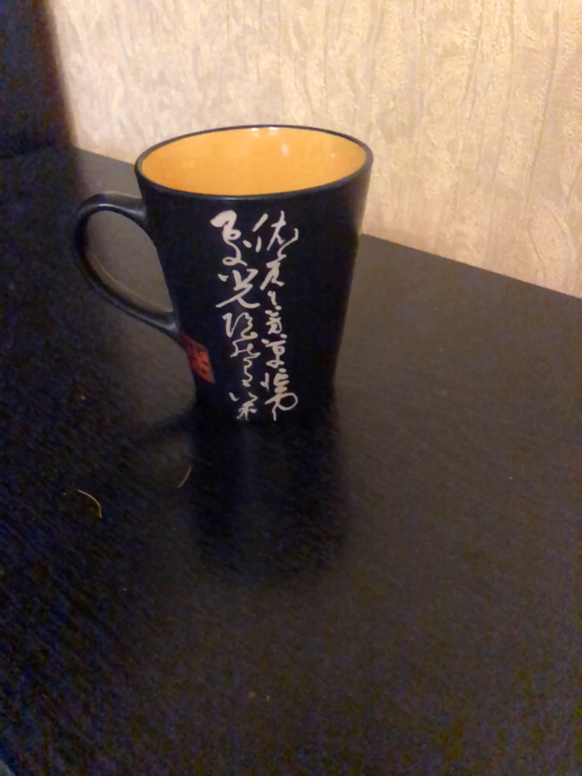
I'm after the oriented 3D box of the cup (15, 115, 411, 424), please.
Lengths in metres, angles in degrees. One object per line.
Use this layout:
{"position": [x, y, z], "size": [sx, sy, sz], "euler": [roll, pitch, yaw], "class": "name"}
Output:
{"position": [-0.024, -0.052, 0.278], "size": [0.130, 0.099, 0.090], "euler": [0, 36, 2], "class": "cup"}
